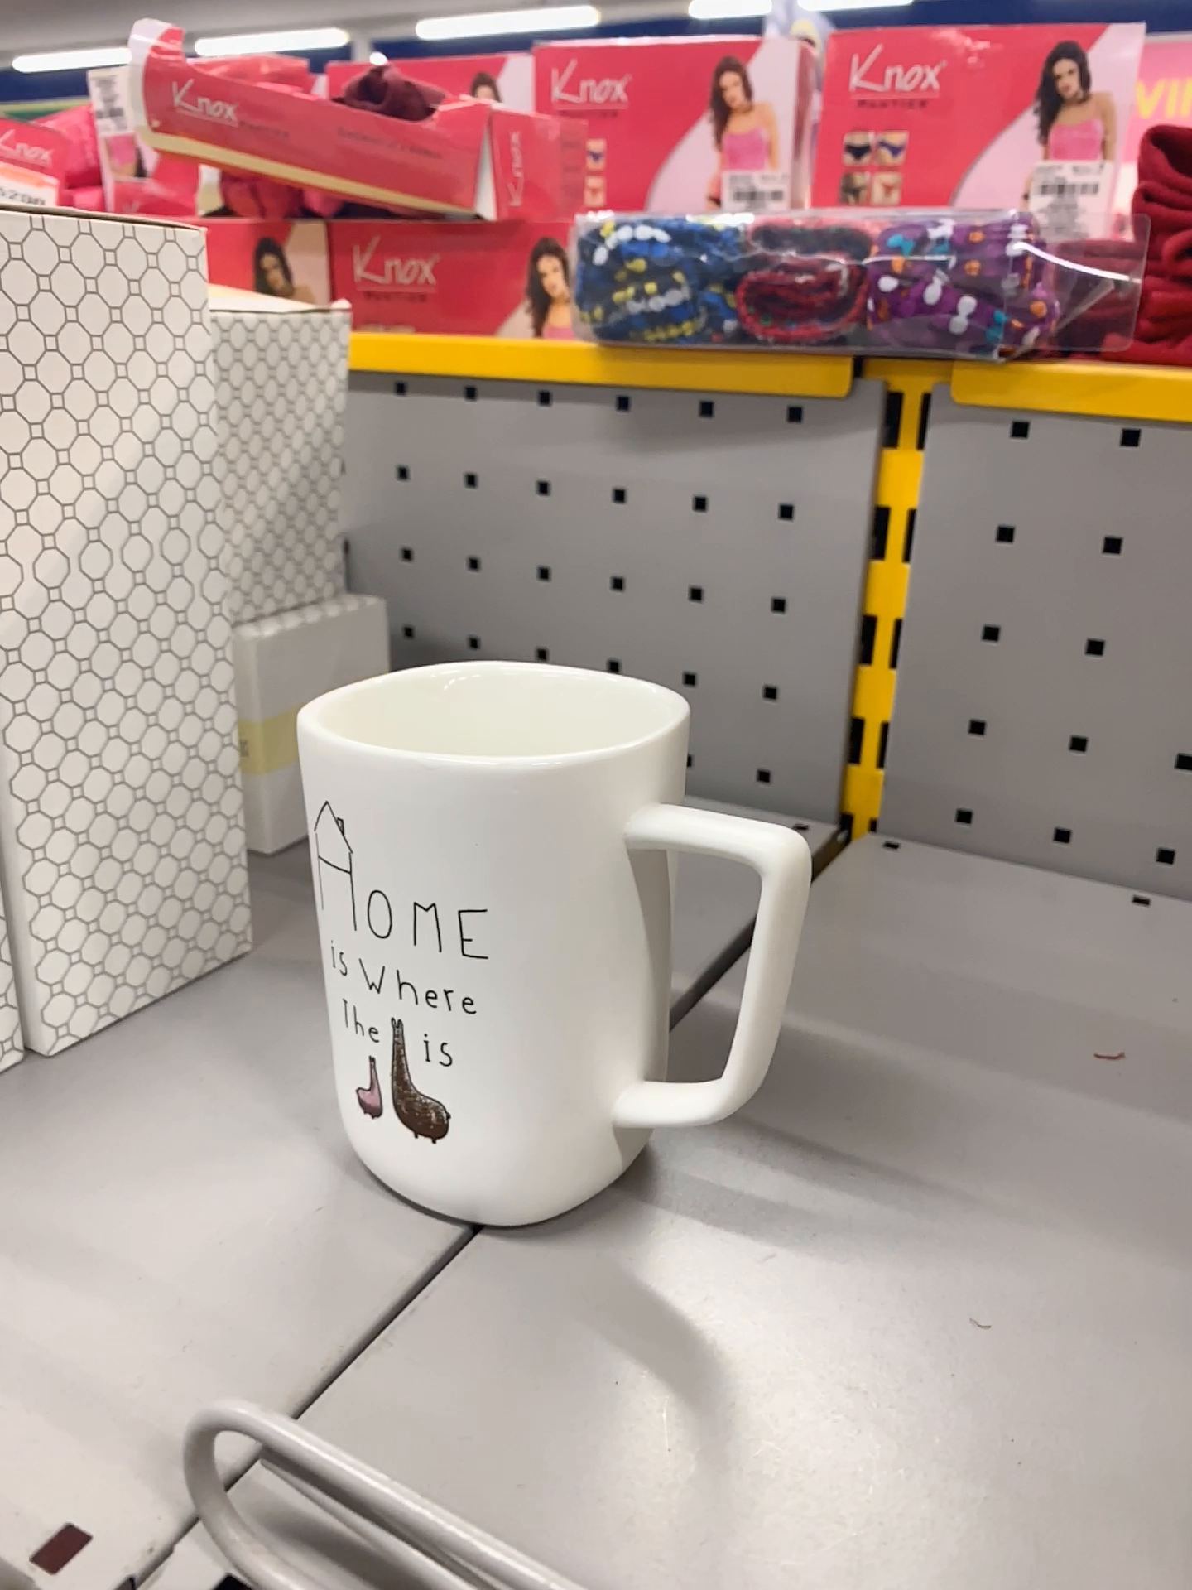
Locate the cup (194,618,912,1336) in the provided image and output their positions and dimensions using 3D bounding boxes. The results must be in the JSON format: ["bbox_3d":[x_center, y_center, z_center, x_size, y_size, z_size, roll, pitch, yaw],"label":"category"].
[{"bbox_3d":[-0.009,0.027,0.257,0.120,0.100,0.070,12,23,25],"label":"cup"}]
